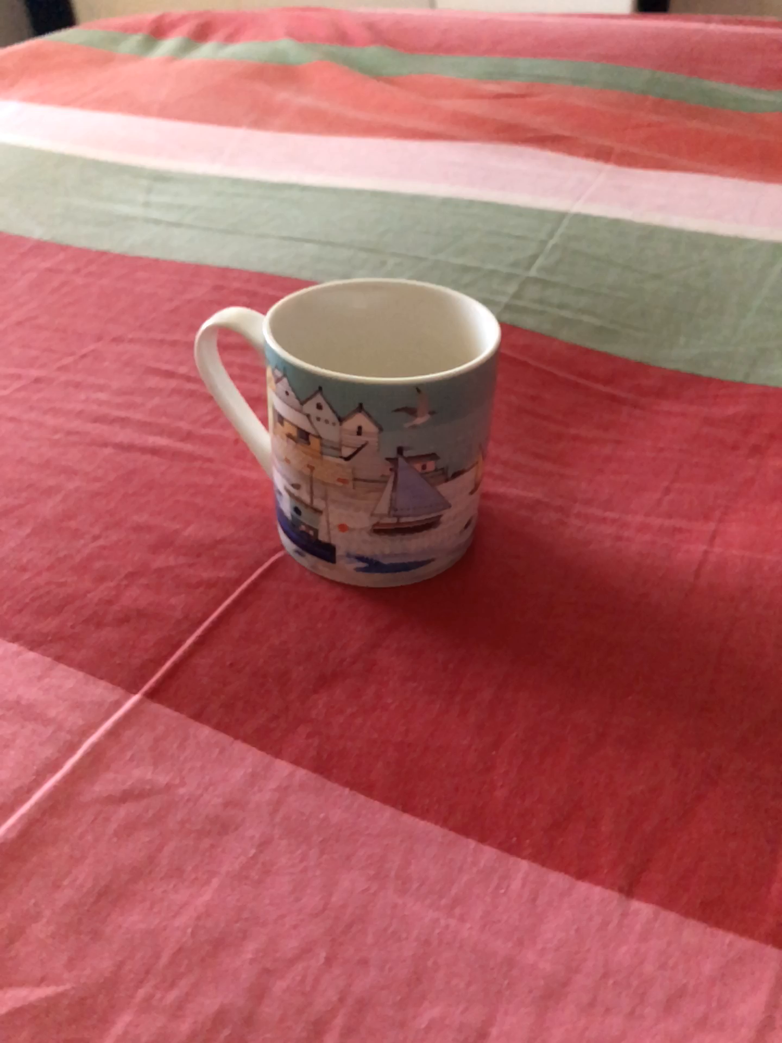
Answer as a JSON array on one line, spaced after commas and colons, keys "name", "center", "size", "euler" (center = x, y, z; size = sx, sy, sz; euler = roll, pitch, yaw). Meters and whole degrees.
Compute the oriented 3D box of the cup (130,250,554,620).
[{"name": "cup", "center": [-0.015, -0.040, 0.335], "size": [0.120, 0.080, 0.094], "euler": [18, 40, 22]}]
